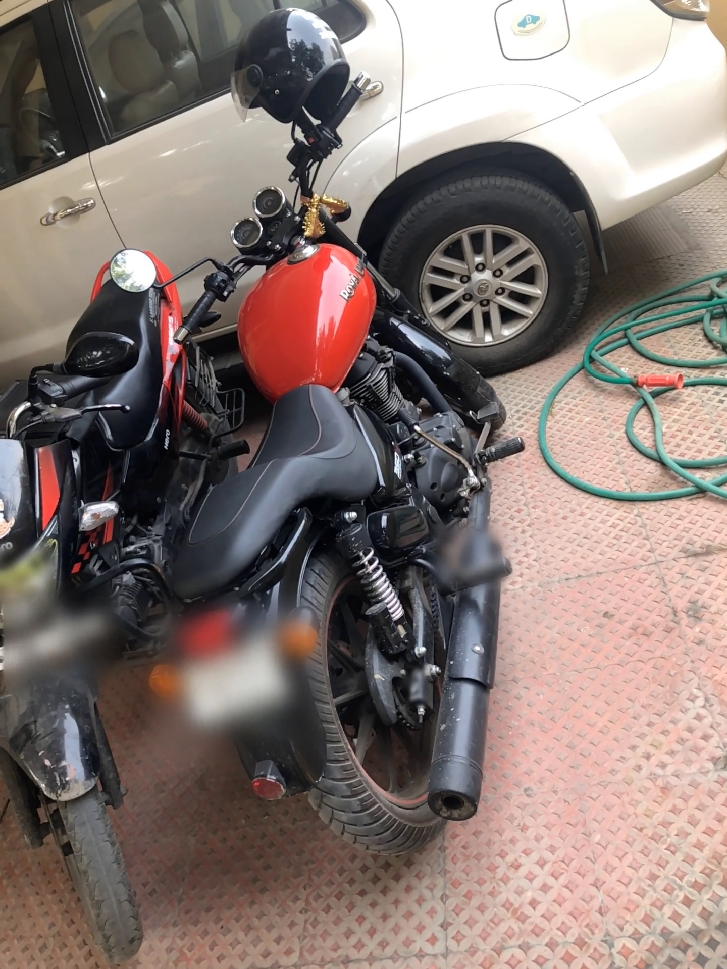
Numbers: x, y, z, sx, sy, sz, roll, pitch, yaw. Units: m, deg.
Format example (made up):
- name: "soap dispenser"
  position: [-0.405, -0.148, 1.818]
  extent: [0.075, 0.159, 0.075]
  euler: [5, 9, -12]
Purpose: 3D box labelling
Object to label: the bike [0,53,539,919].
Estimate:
- name: "bike"
  position: [-0.176, -0.116, 1.978]
  extent: [0.821, 1.270, 1.721]
  euler: [-12, 34, 15]
